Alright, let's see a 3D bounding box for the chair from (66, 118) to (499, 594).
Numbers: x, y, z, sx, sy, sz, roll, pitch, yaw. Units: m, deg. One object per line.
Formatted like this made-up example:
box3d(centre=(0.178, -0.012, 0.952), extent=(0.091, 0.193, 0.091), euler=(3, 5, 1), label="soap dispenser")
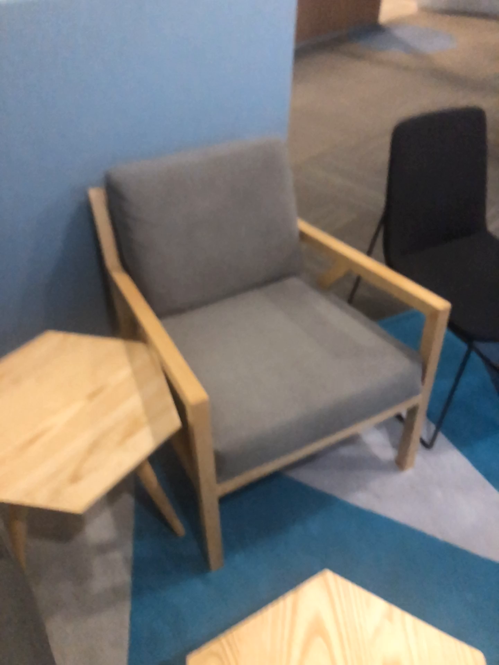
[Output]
box3d(centre=(0.044, -0.008, 1.512), extent=(0.713, 0.744, 0.844), euler=(-19, 45, -22), label="chair")
